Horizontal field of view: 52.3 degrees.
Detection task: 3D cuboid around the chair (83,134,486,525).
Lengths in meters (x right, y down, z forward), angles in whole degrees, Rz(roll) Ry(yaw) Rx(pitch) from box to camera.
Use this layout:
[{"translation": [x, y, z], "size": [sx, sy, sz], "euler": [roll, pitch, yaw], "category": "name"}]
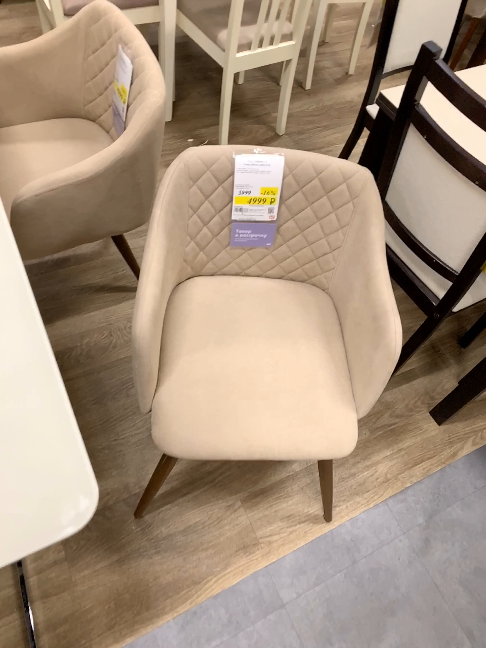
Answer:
[{"translation": [0.022, 0.103, 1.219], "size": [0.600, 0.837, 0.572], "euler": [3, 57, -6], "category": "chair"}]
